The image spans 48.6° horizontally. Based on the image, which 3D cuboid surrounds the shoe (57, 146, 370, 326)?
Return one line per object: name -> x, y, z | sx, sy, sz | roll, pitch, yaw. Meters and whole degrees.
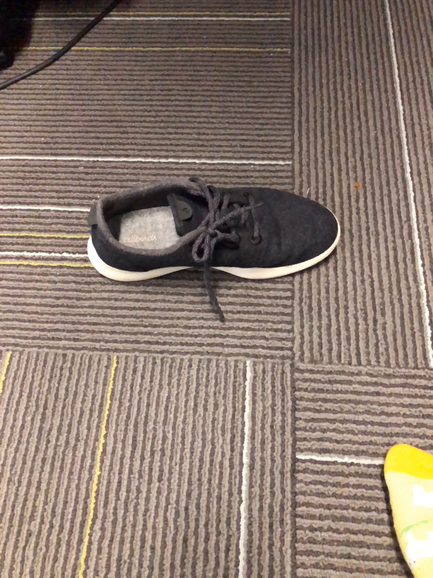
shoe -> -0.008, -0.054, 0.485 | 0.280, 0.060, 0.140 | -6, 64, 1
